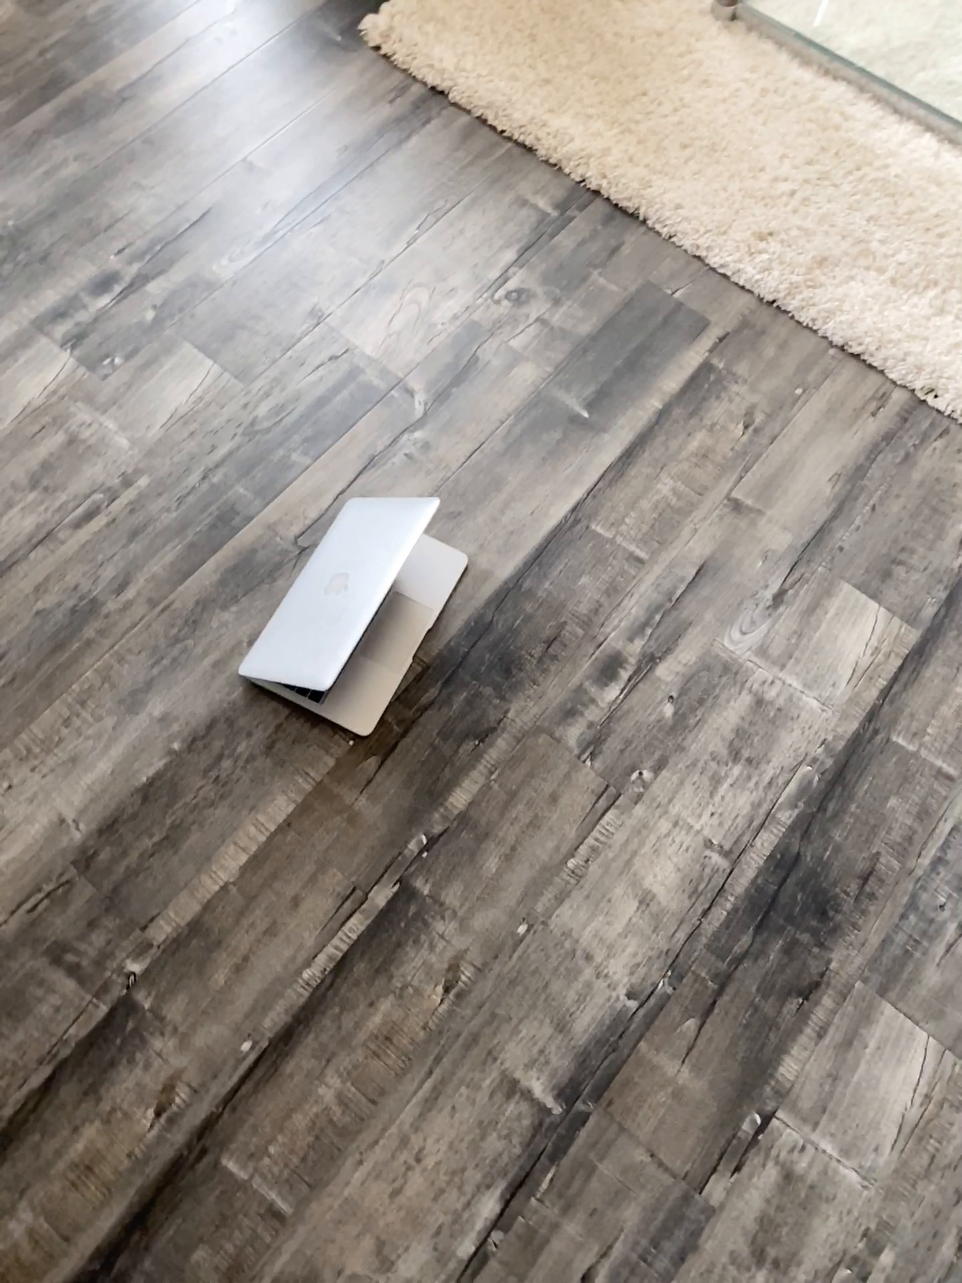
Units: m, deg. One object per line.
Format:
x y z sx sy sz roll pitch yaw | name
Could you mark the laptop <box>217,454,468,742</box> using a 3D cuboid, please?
-0.152 -0.053 1.145 0.172 0.113 0.271 25 67 9 | laptop
